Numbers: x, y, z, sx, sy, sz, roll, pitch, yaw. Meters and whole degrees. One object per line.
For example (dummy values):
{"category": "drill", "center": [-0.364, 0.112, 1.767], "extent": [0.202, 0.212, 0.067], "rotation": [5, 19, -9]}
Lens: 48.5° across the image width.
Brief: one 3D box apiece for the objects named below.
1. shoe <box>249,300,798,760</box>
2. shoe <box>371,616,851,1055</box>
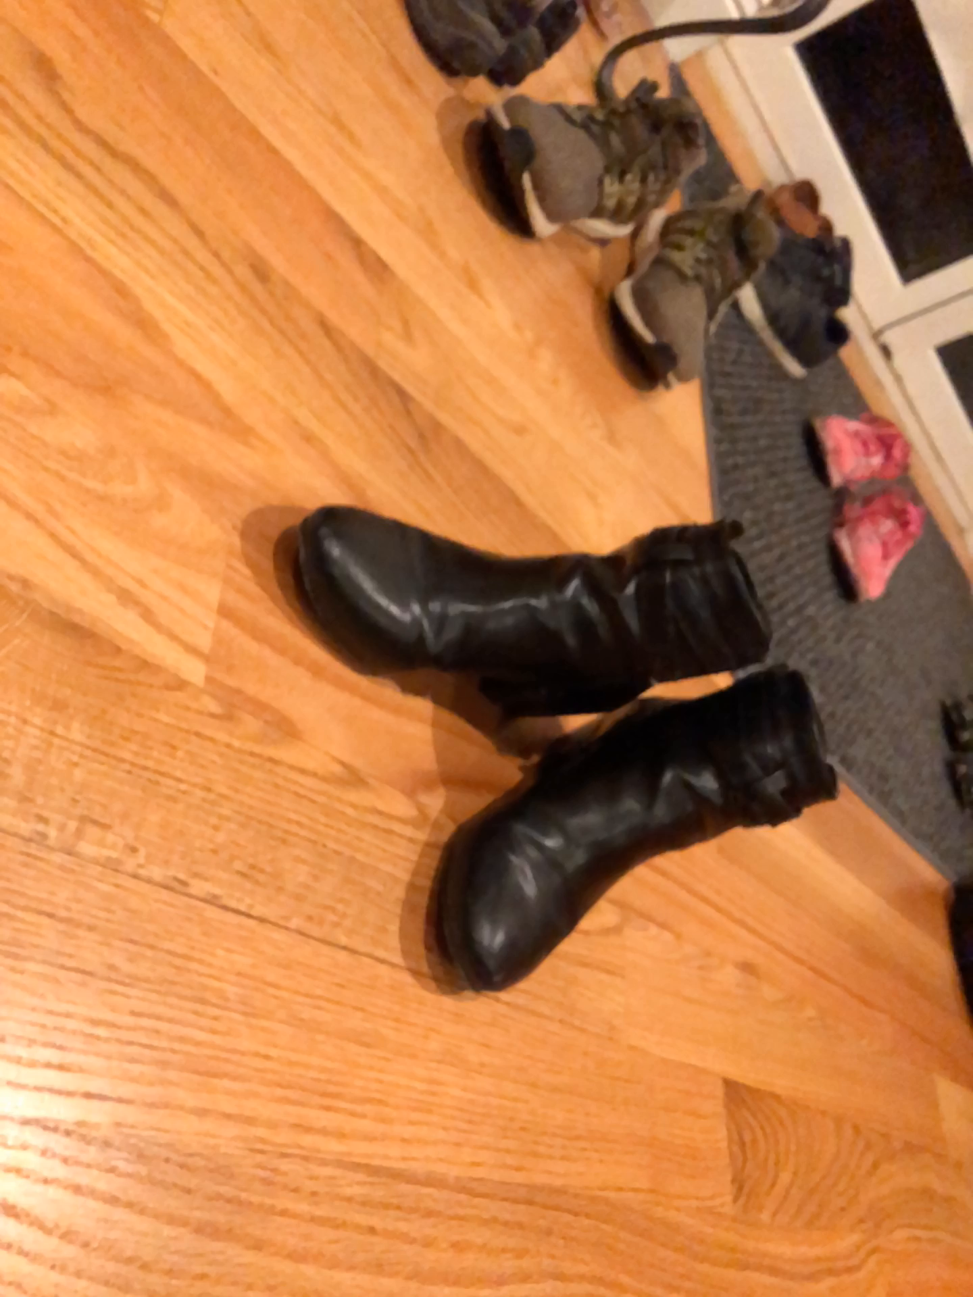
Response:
{"category": "shoe", "center": [0.028, -0.038, 0.552], "extent": [0.227, 0.172, 0.090], "rotation": [33, 48, -46]}
{"category": "shoe", "center": [0.079, 0.091, 0.571], "extent": [0.090, 0.172, 0.227], "rotation": [63, 32, -13]}
